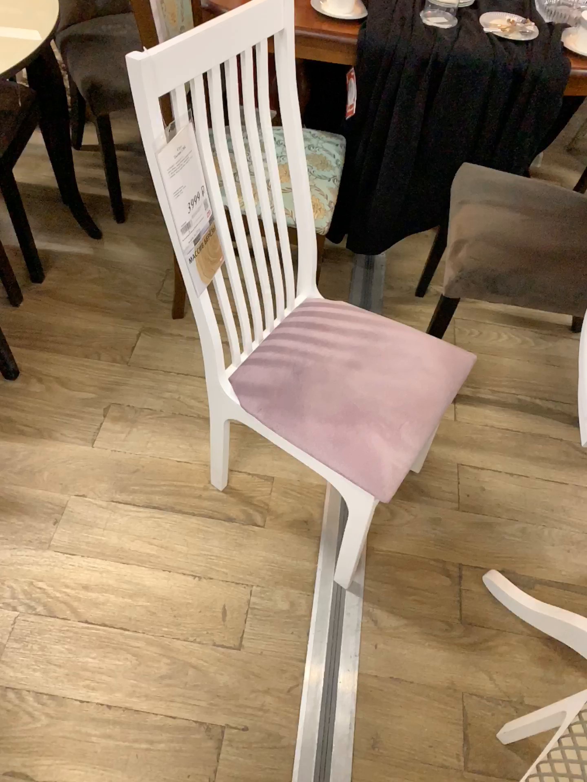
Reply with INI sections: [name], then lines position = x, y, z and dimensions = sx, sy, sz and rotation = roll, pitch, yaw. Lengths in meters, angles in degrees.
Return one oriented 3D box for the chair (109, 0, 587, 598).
[chair]
position = 0.073, -0.105, 1.168
dimensions = 0.520, 1.003, 0.442
rotation = 29, 54, 17
